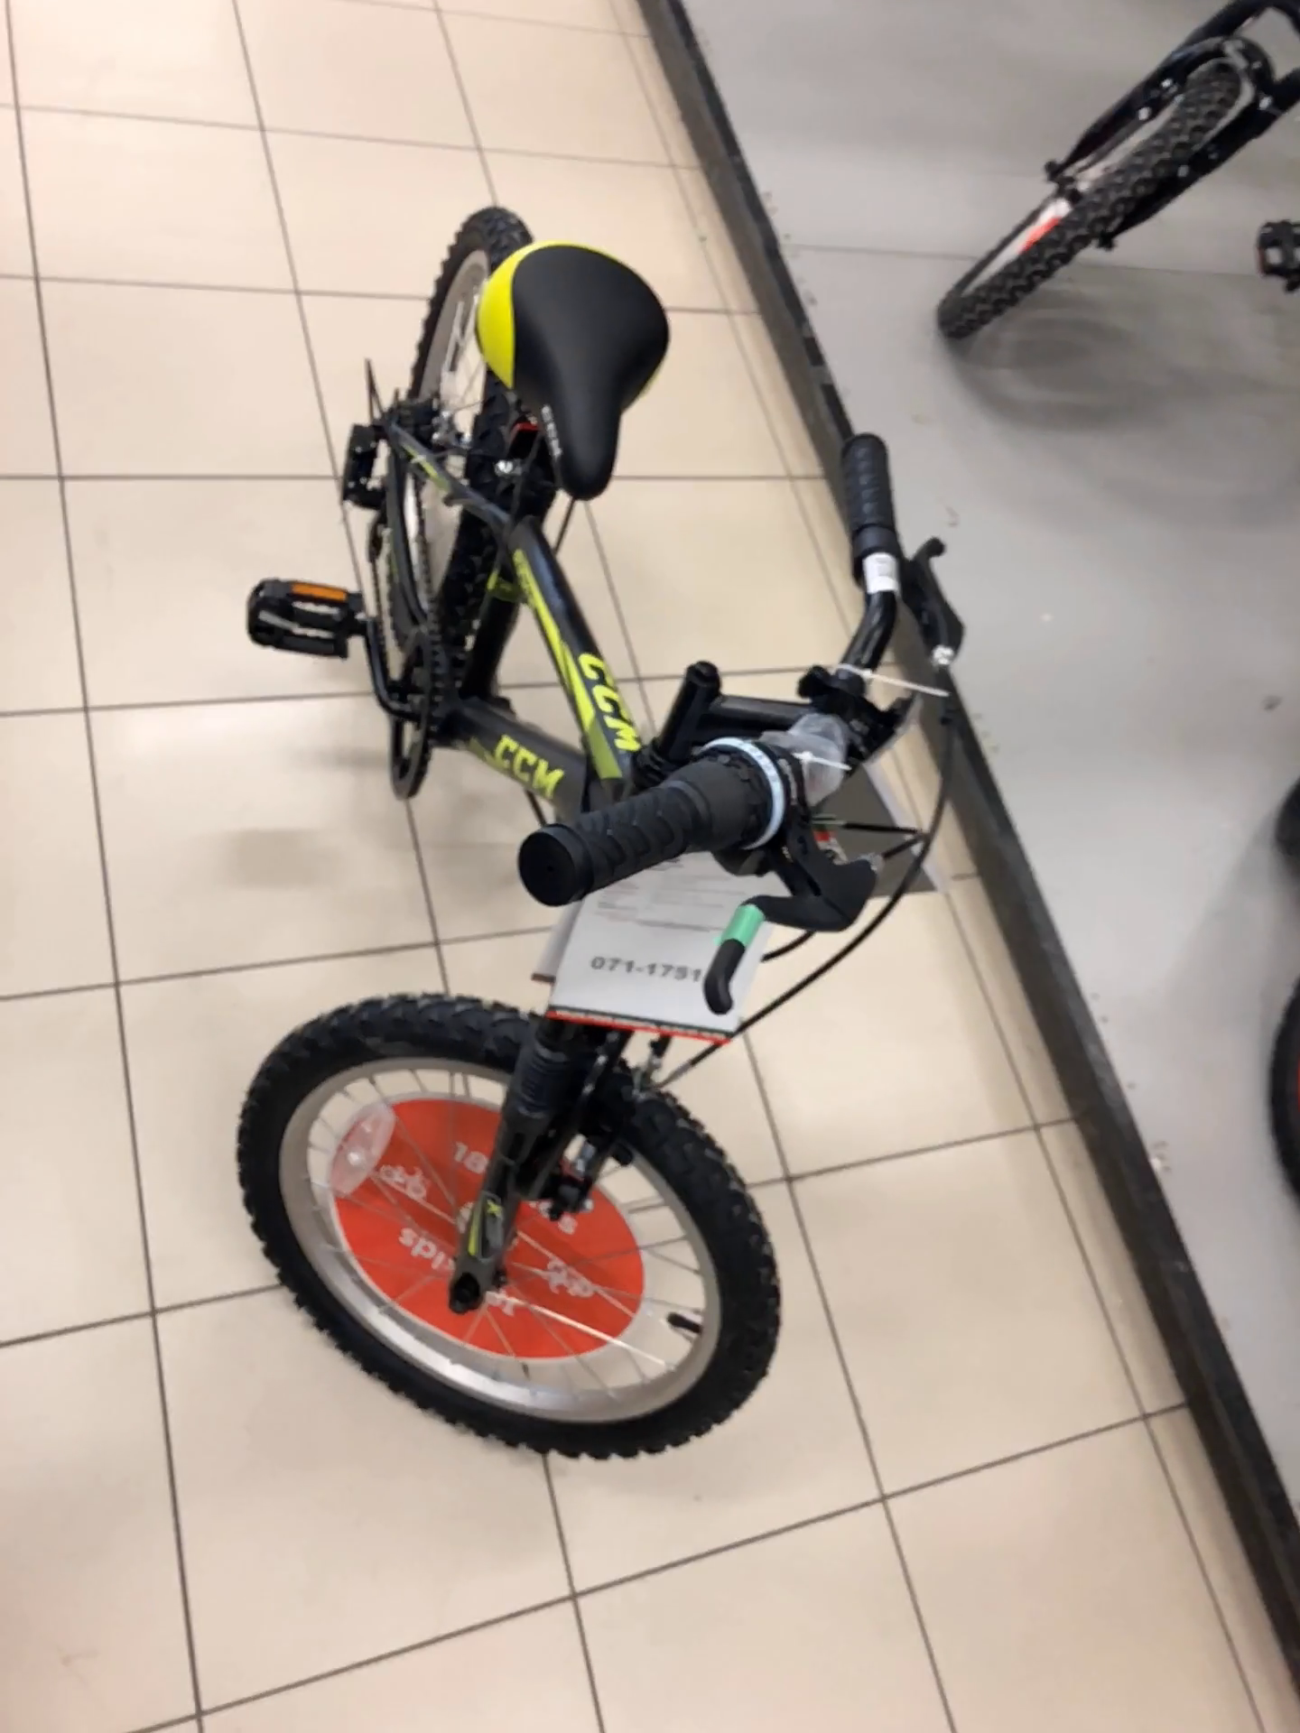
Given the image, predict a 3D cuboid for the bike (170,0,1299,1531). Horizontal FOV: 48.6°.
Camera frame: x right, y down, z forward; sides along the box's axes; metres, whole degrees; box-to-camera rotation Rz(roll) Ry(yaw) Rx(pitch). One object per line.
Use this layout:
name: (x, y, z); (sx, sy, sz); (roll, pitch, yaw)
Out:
bike: (-0.036, -0.195, 1.162); (0.550, 0.862, 1.196); (-5, 64, -21)
